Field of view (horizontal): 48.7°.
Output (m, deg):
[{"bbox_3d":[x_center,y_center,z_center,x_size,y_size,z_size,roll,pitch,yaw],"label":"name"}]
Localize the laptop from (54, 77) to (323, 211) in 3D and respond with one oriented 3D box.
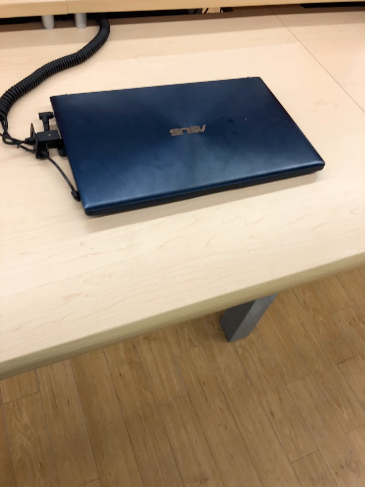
[{"bbox_3d":[0.008,-0.138,0.500,0.295,0.001,0.178,-13,59,-18],"label":"laptop"}]
